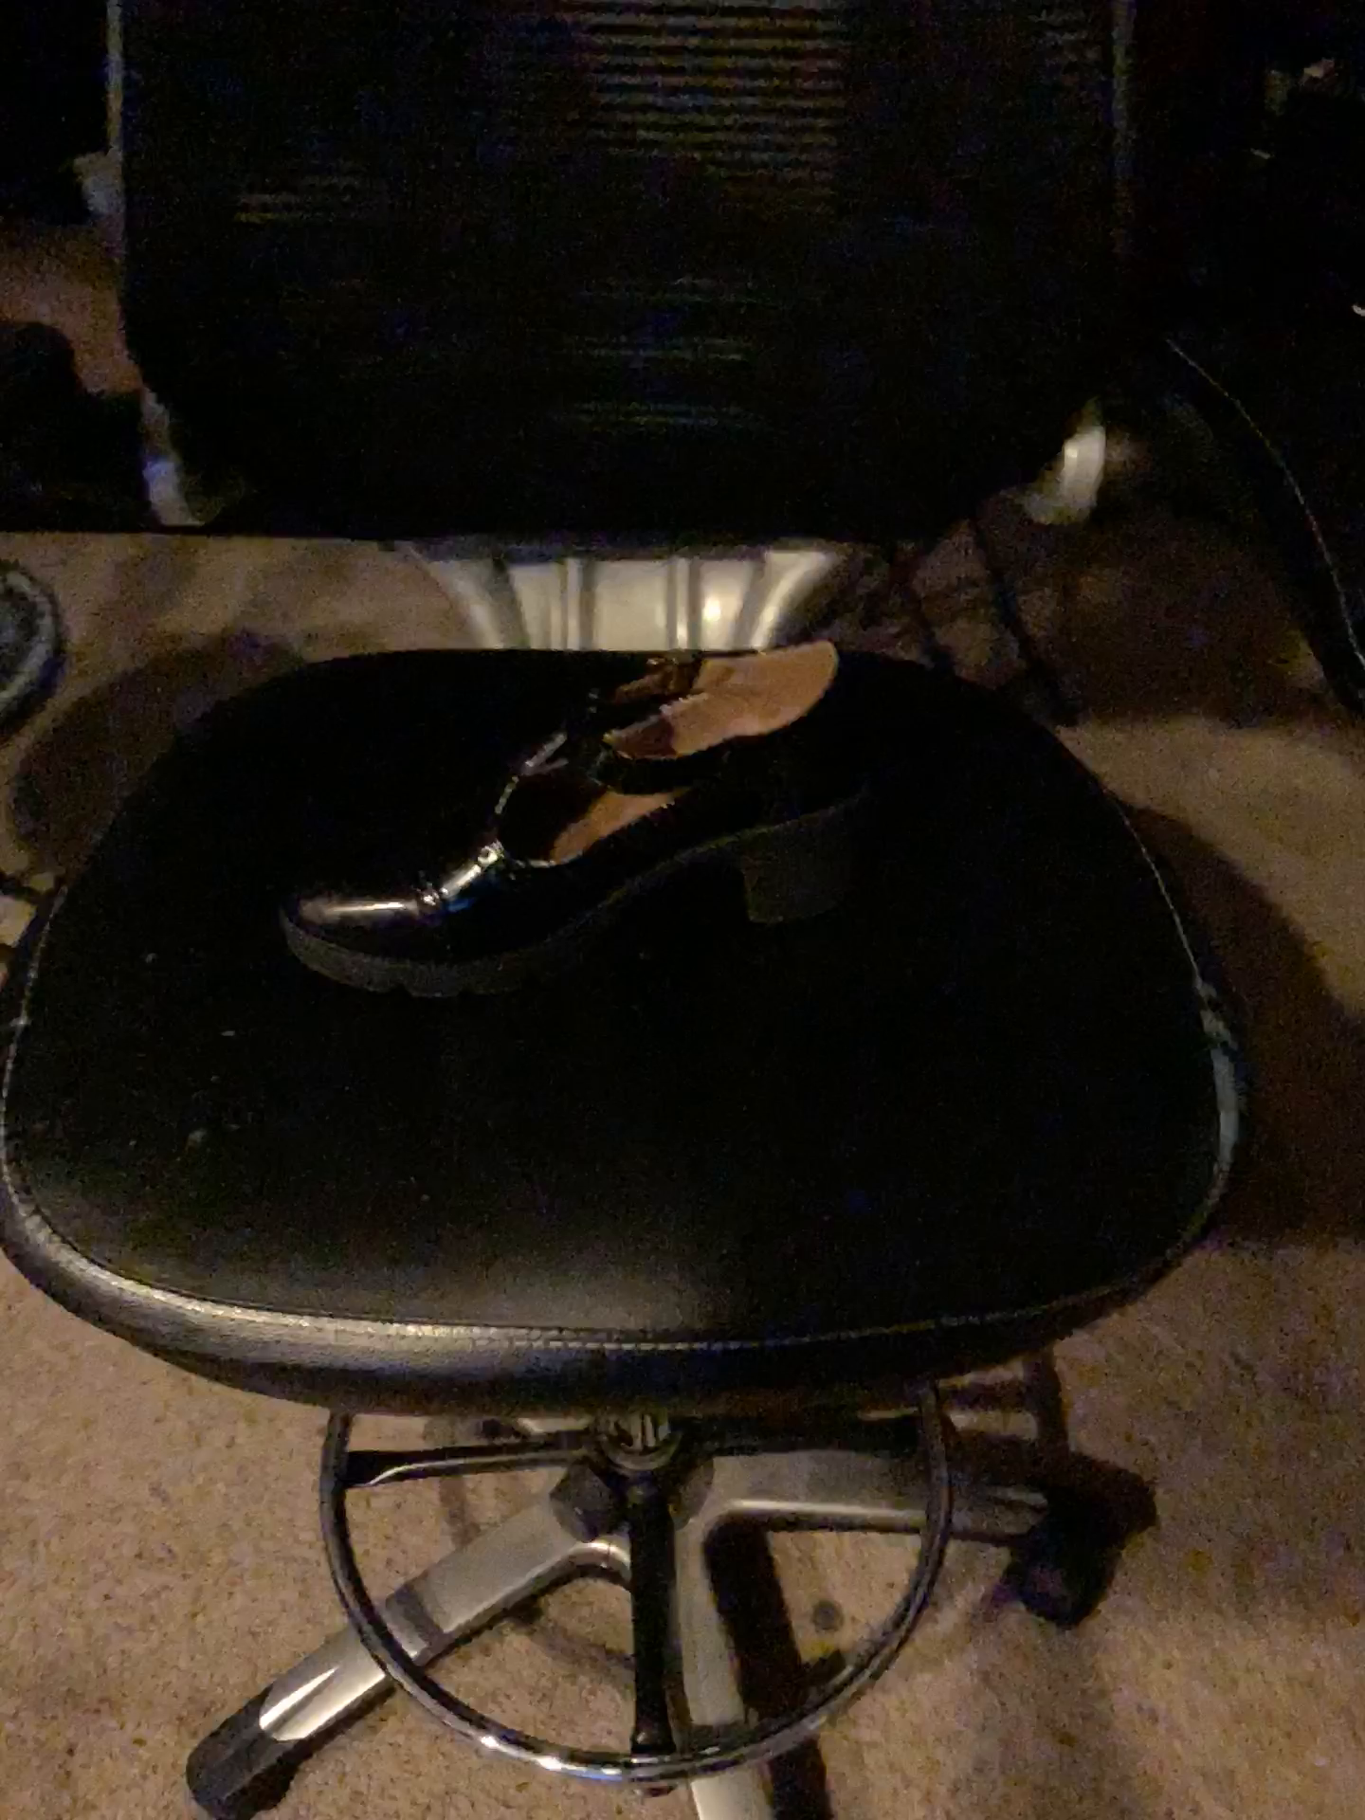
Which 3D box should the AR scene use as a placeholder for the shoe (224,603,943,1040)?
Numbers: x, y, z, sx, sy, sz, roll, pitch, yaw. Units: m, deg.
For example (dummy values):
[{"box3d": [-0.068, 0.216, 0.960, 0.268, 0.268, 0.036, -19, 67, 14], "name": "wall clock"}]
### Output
[{"box3d": [-0.043, -0.042, 0.634, 0.270, 0.100, 0.110, -9, 40, -10], "name": "shoe"}]
